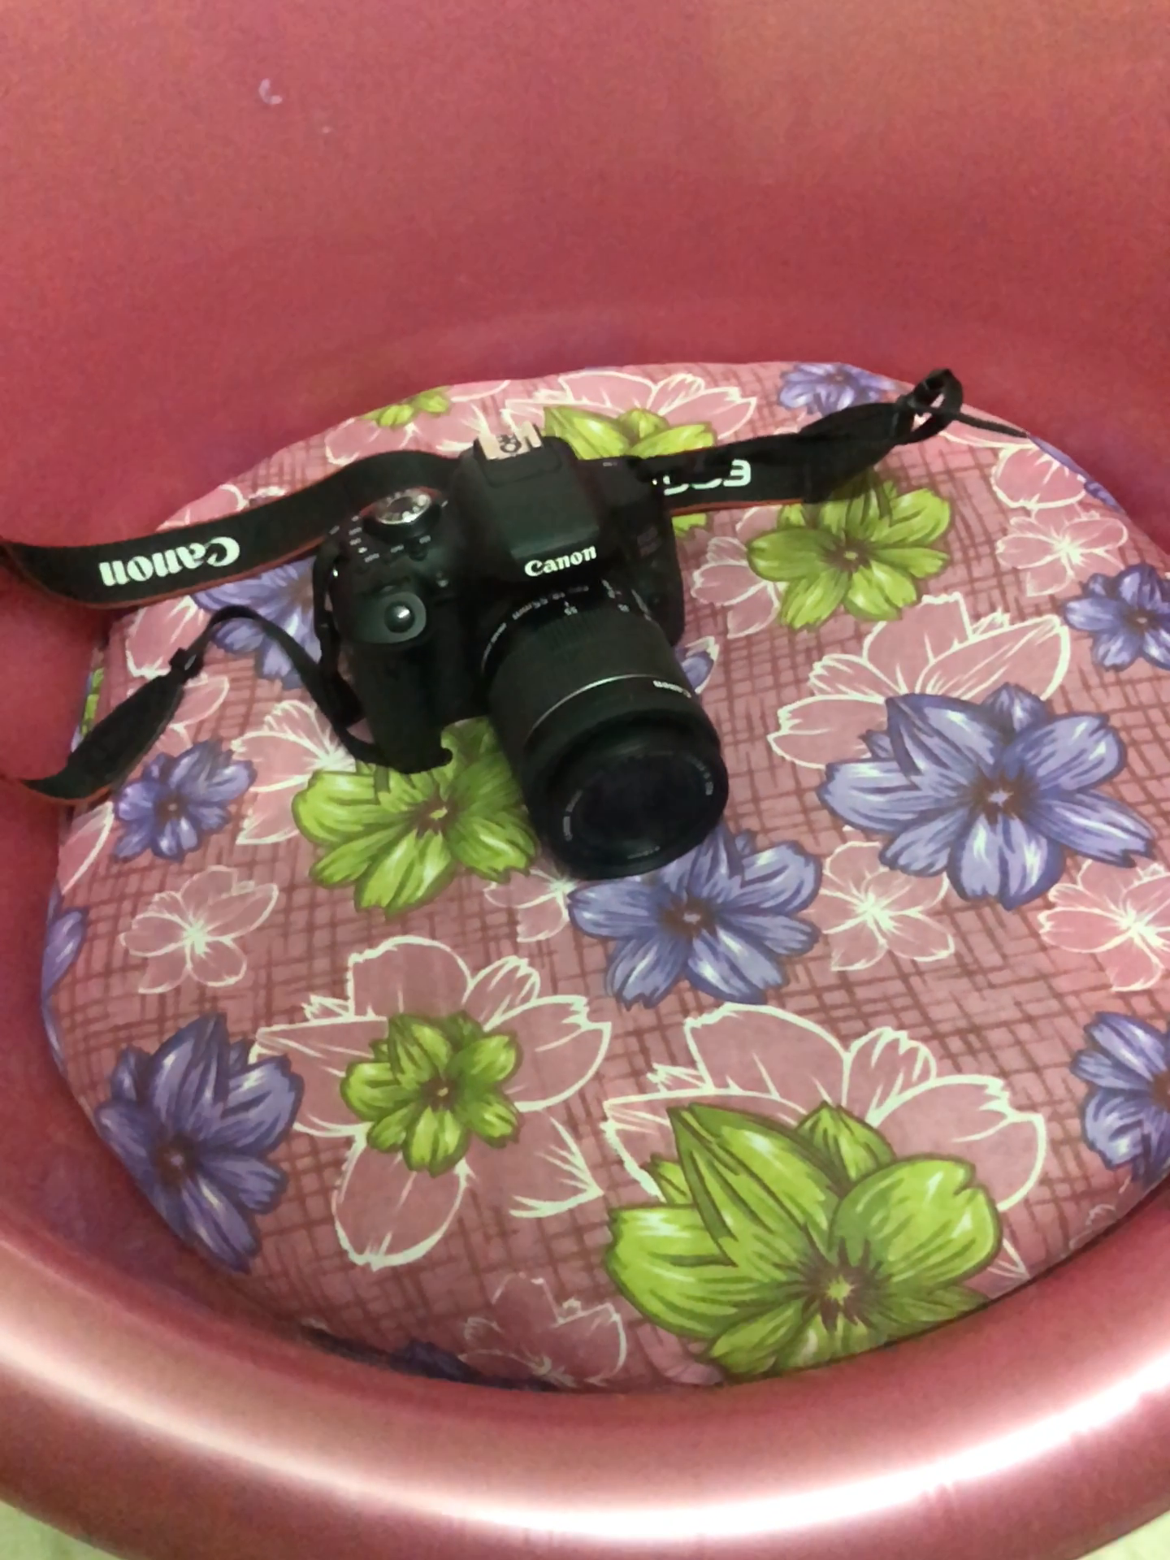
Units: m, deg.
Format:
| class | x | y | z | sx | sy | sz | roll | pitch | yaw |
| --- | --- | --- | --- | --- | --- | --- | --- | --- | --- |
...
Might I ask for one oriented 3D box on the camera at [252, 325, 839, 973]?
| class | x | y | z | sx | sy | sz | roll | pitch | yaw |
| --- | --- | --- | --- | --- | --- | --- | --- | --- | --- |
| camera | -0.017 | -0.048 | 0.430 | 0.140 | 0.099 | 0.161 | -16 | 52 | -6 |
